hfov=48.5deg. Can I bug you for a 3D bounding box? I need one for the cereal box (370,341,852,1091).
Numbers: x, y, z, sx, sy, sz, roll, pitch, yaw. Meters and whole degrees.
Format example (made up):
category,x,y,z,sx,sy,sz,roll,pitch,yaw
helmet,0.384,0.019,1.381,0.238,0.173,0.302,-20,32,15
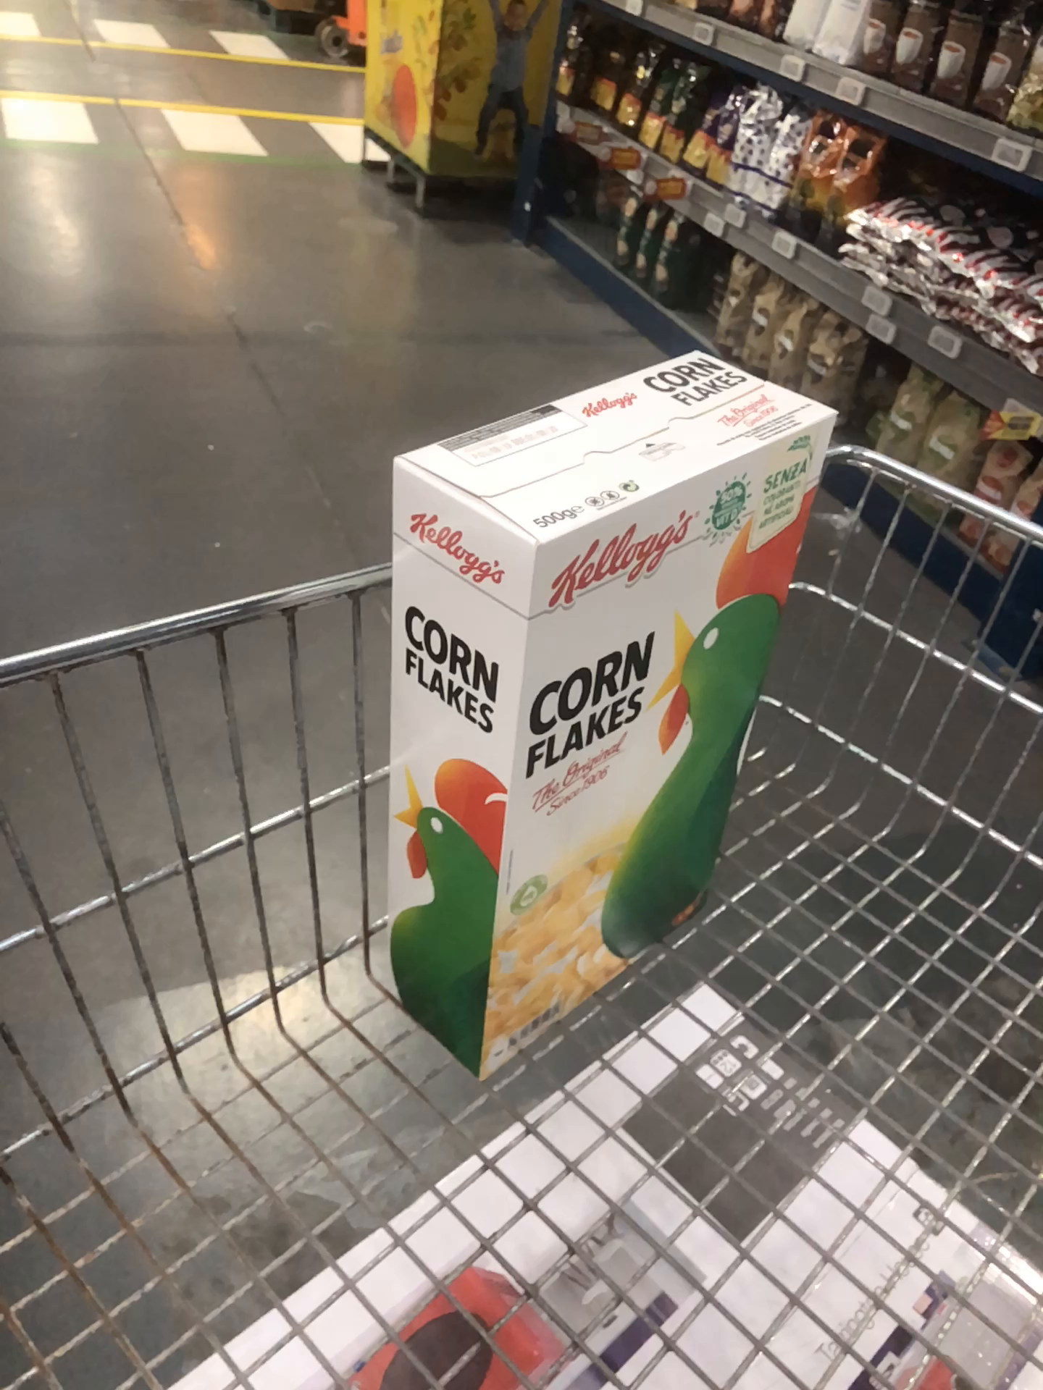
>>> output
category,x,y,z,sx,sy,sz,roll,pitch,yaw
cereal box,0.031,0.018,0.577,0.090,0.328,0.191,35,46,30
